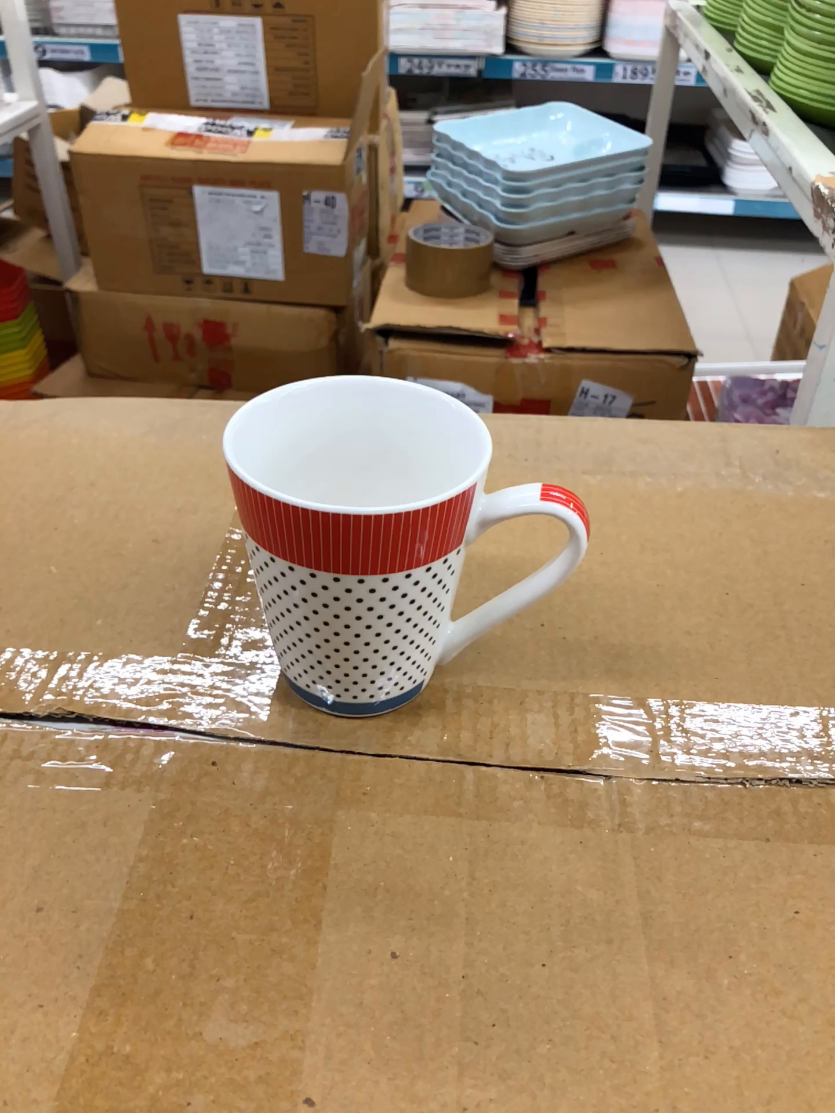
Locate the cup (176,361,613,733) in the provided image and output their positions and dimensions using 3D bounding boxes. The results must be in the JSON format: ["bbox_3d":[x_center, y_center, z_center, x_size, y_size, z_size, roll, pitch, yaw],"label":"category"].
[{"bbox_3d":[-0.006,-0.005,0.317,0.120,0.089,0.091,1,37,0],"label":"cup"}]
